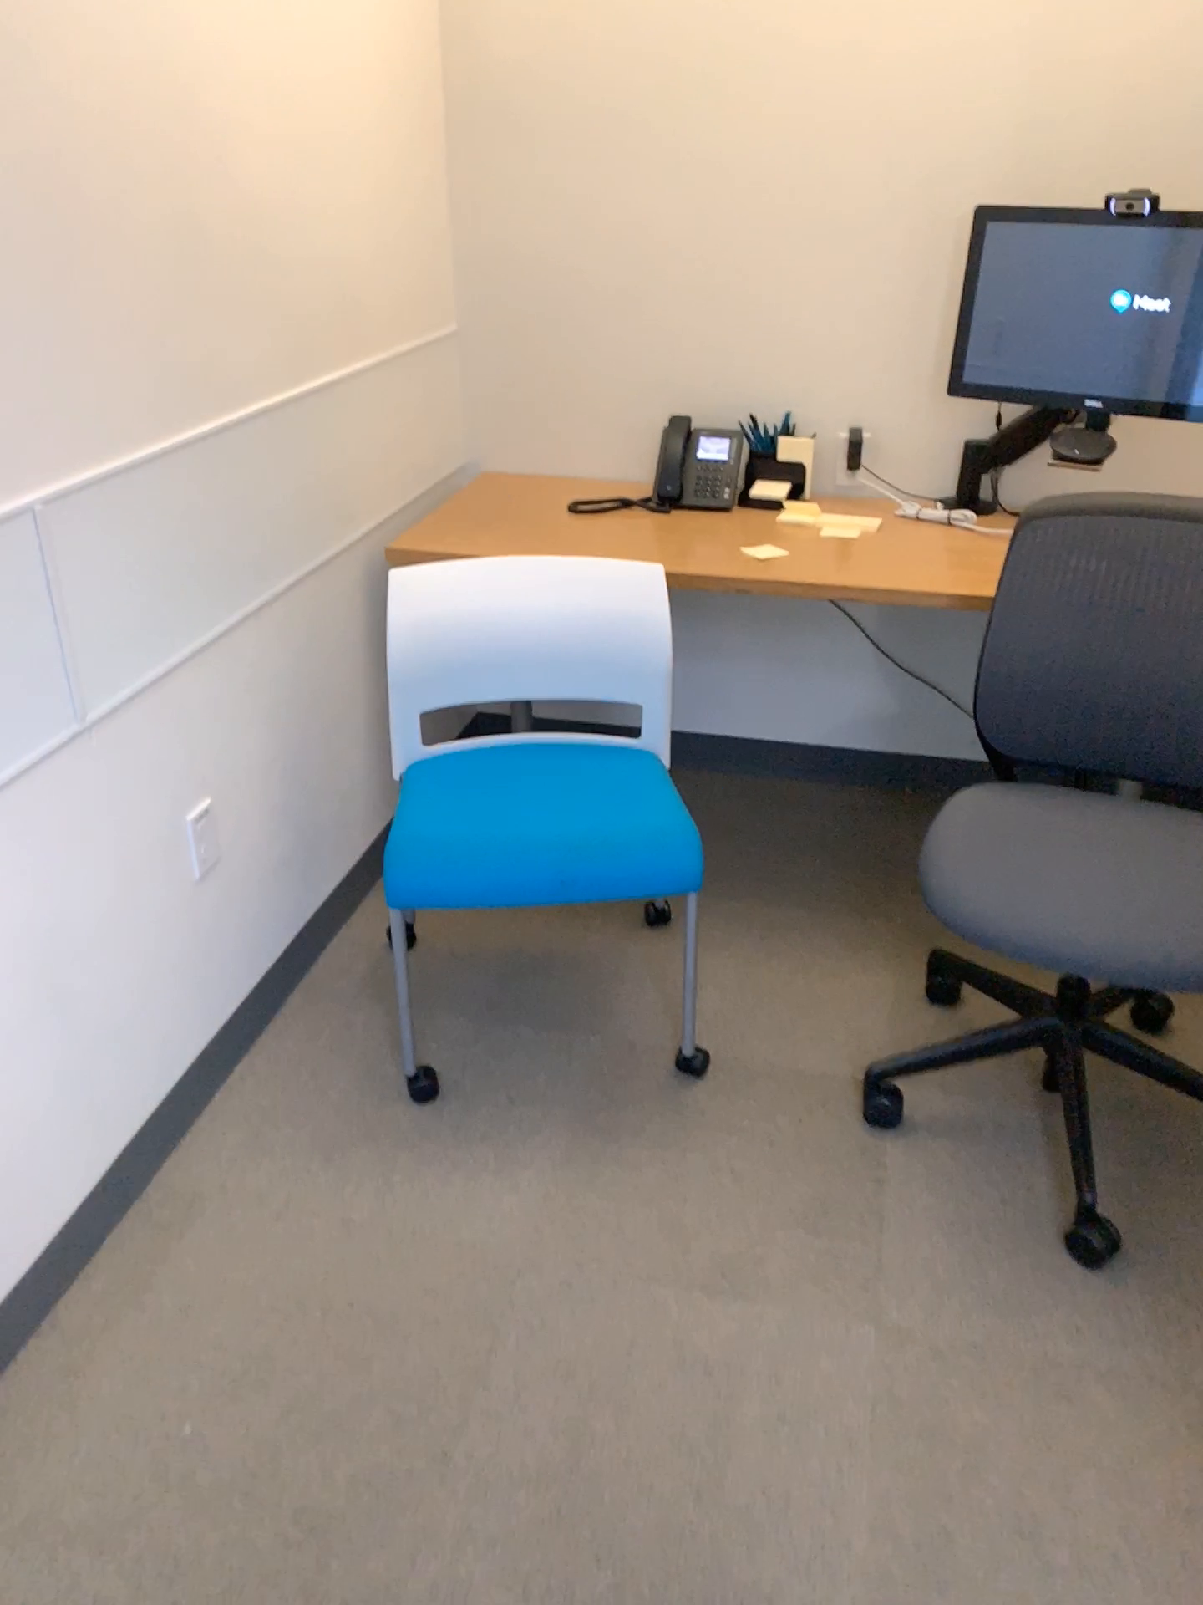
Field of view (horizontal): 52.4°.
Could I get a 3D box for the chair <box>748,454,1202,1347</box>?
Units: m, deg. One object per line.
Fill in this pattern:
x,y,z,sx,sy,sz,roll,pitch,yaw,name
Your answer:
0.787,0.034,1.932,0.752,0.885,0.973,14,31,24,chair

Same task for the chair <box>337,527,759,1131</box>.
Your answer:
-0.099,-0.008,2.044,0.530,0.686,0.794,-2,28,-4,chair
